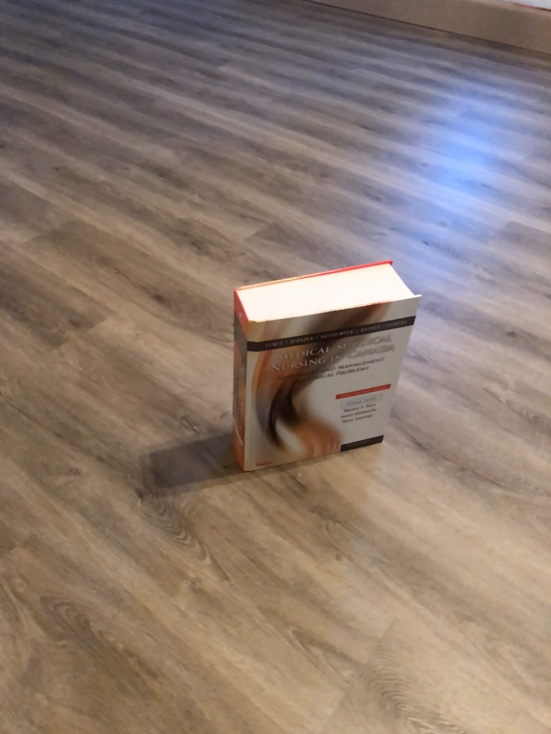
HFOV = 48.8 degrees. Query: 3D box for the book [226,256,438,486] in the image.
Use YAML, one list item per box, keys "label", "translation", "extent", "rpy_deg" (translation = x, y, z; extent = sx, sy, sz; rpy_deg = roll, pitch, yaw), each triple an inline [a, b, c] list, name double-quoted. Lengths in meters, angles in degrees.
- label: "book"
  translation: [0.060, 0.012, 0.826]
  extent: [0.240, 0.290, 0.087]
  rpy_deg: [-11, 45, -16]
